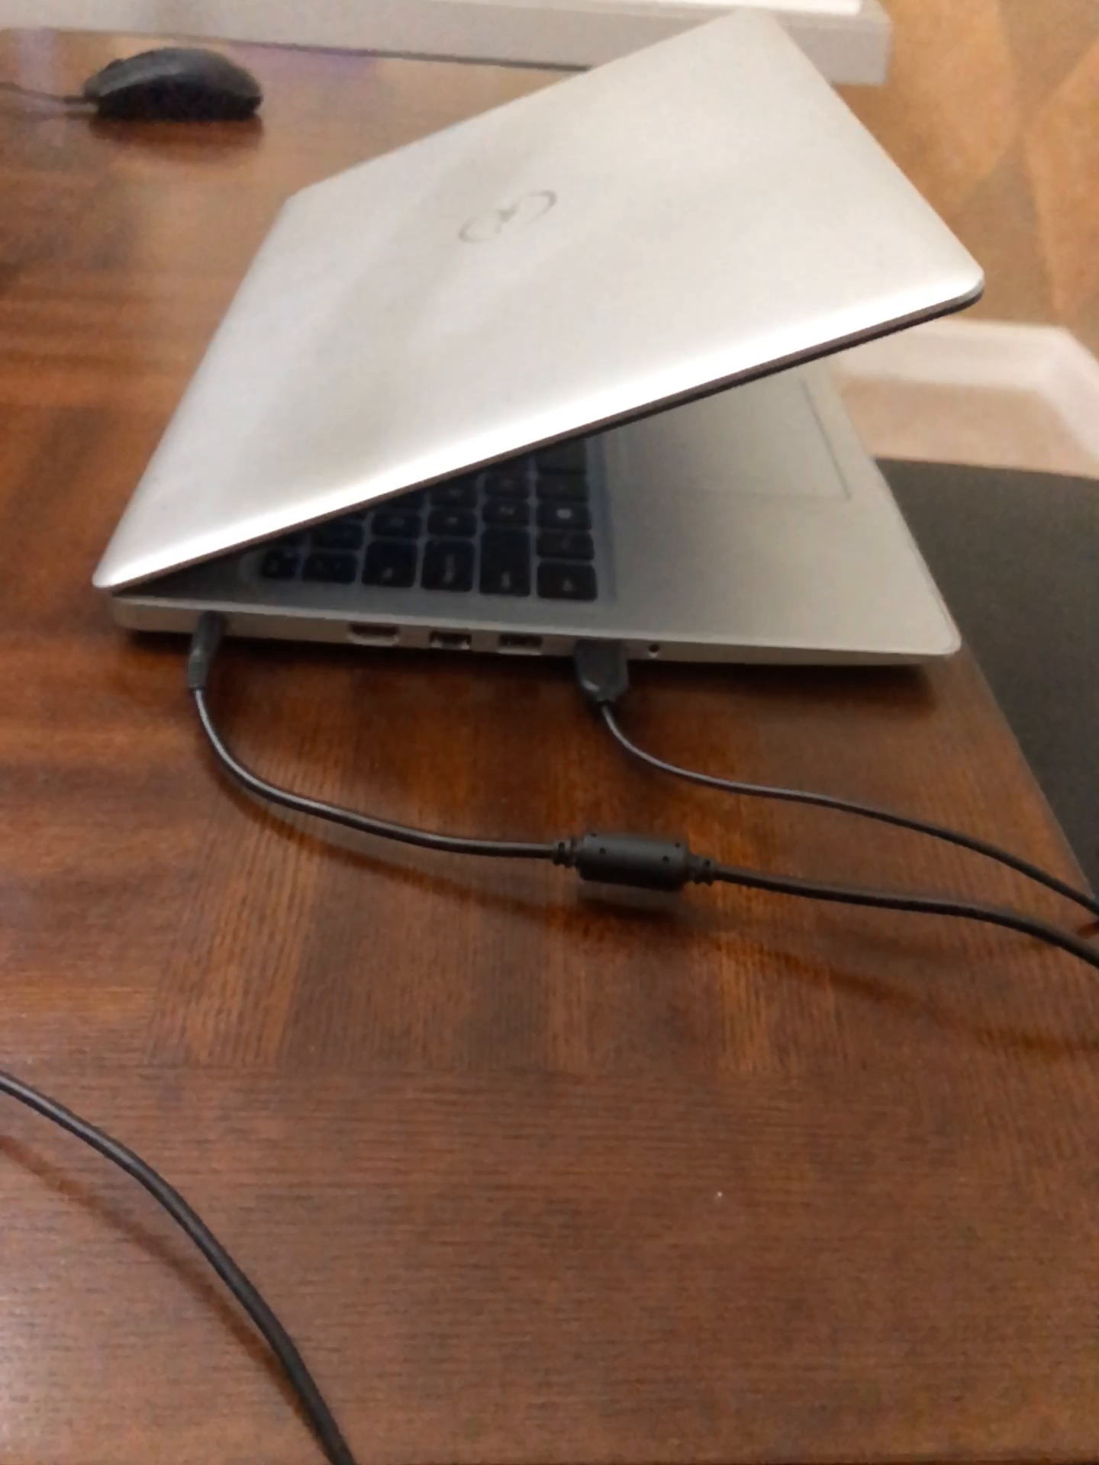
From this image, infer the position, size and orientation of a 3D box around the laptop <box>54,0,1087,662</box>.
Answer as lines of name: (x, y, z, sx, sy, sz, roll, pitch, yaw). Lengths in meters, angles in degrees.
laptop: (0.004, -0.187, 0.467, 0.249, 0.103, 0.370, 4, 40, -5)
